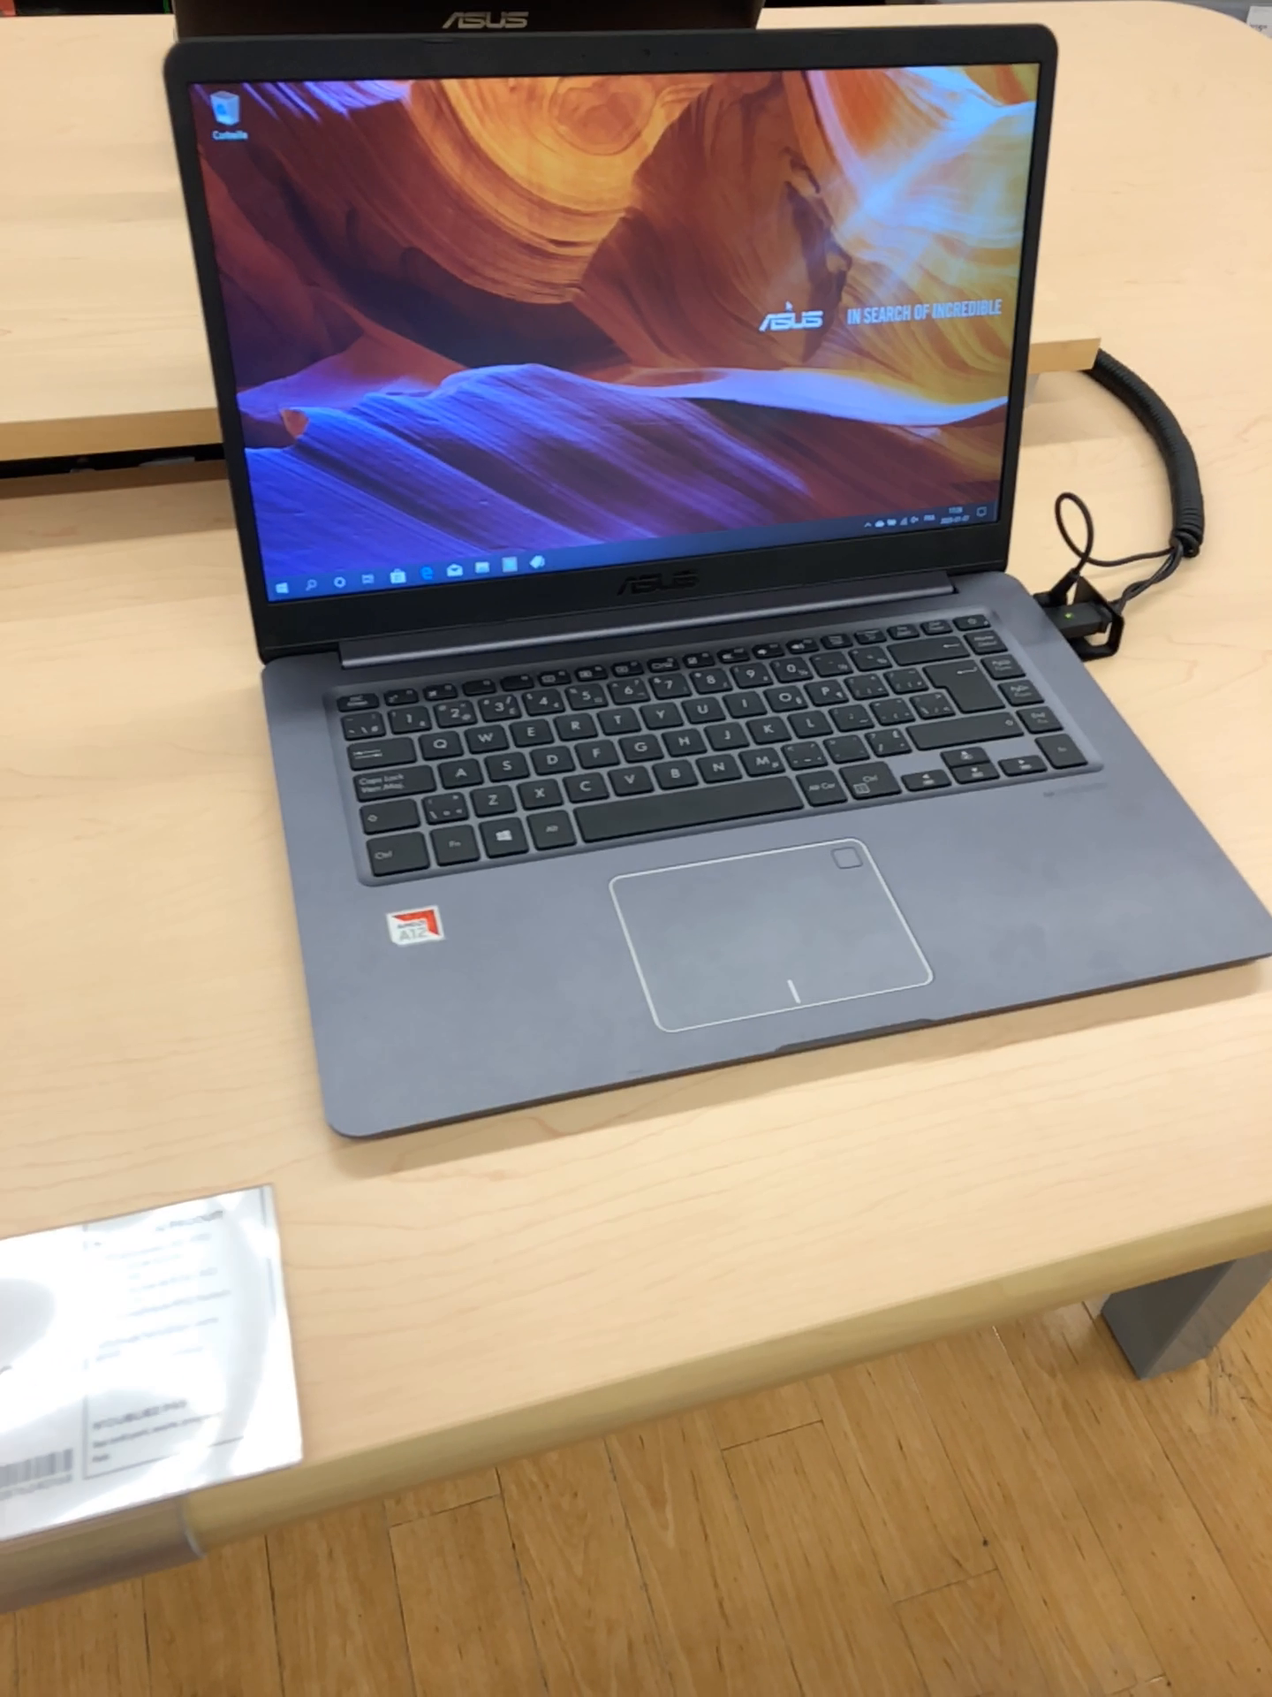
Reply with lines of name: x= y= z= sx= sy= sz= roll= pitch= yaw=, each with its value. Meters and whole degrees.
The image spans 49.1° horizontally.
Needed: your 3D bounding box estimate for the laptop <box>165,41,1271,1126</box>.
laptop: x=0.039 y=-0.126 z=0.523 sx=0.361 sy=0.223 sz=0.318 roll=-9 pitch=48 yaw=-14
